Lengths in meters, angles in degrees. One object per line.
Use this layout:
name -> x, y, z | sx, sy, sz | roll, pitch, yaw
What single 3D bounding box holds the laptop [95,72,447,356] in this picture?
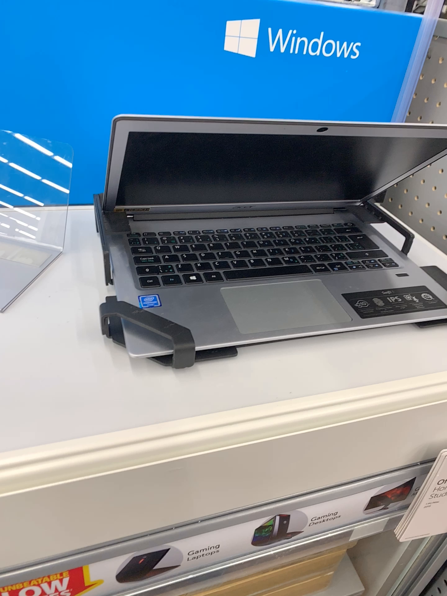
laptop -> 0.057, -0.090, 0.411 | 0.307, 0.140, 0.198 | -5, 39, -17
